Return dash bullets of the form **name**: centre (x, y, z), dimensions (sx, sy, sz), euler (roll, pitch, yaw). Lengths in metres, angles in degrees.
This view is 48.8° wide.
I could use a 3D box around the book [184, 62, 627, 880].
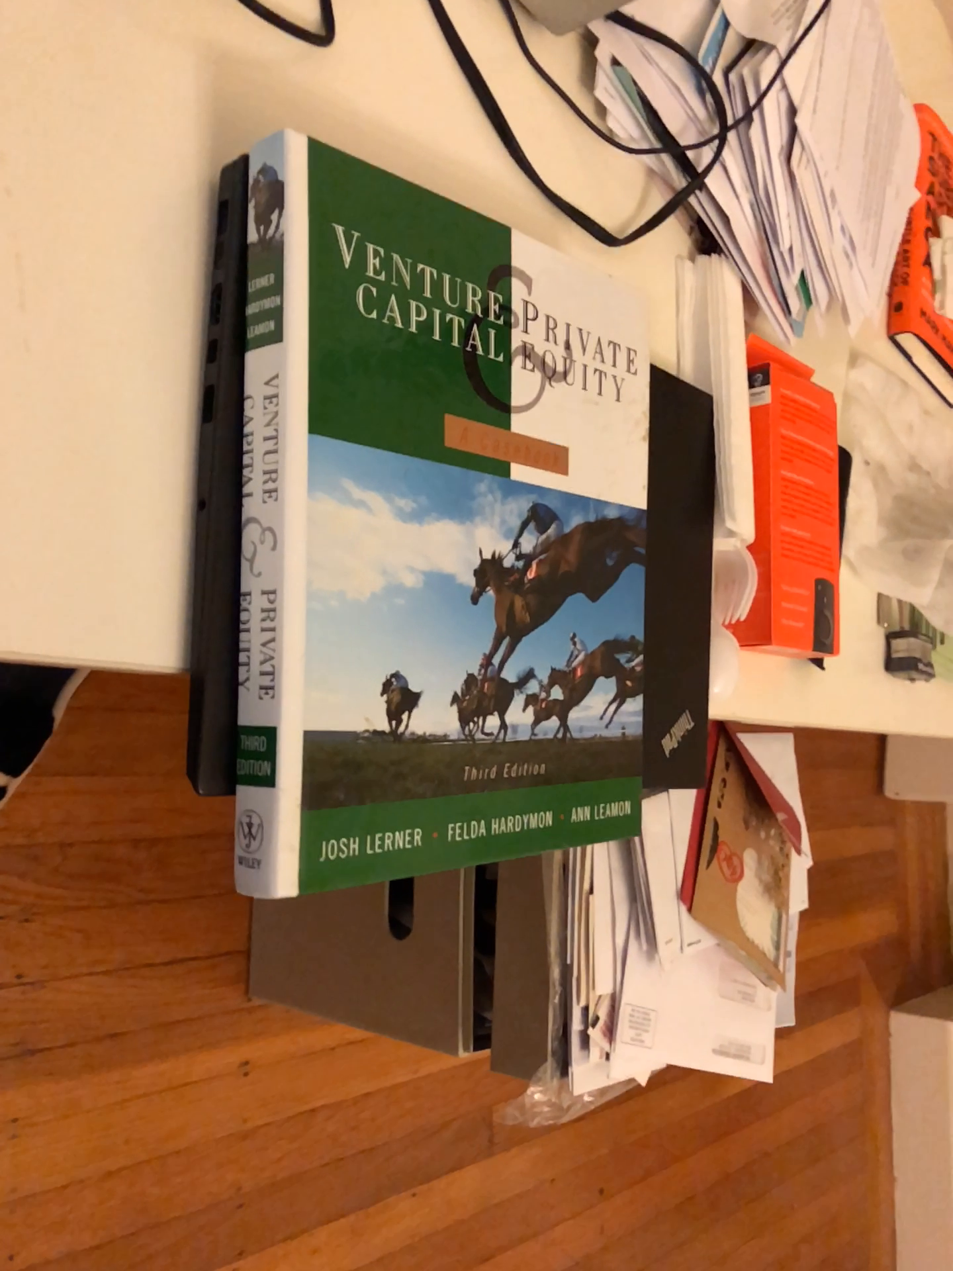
- **book**: centre (-0.013, -0.051, 0.434), dimensions (0.221, 0.030, 0.270), euler (5, 84, -48)
